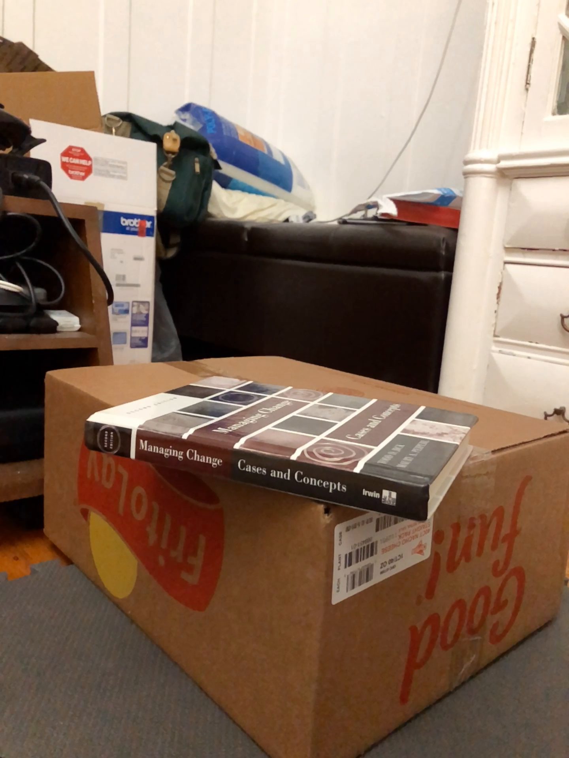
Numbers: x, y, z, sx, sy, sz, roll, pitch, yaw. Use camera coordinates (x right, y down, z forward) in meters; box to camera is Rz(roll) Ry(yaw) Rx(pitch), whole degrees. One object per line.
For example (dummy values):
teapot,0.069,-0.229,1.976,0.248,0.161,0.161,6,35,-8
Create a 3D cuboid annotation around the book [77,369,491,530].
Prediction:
book,0.009,0.035,0.460,0.250,0.030,0.180,9,12,23
